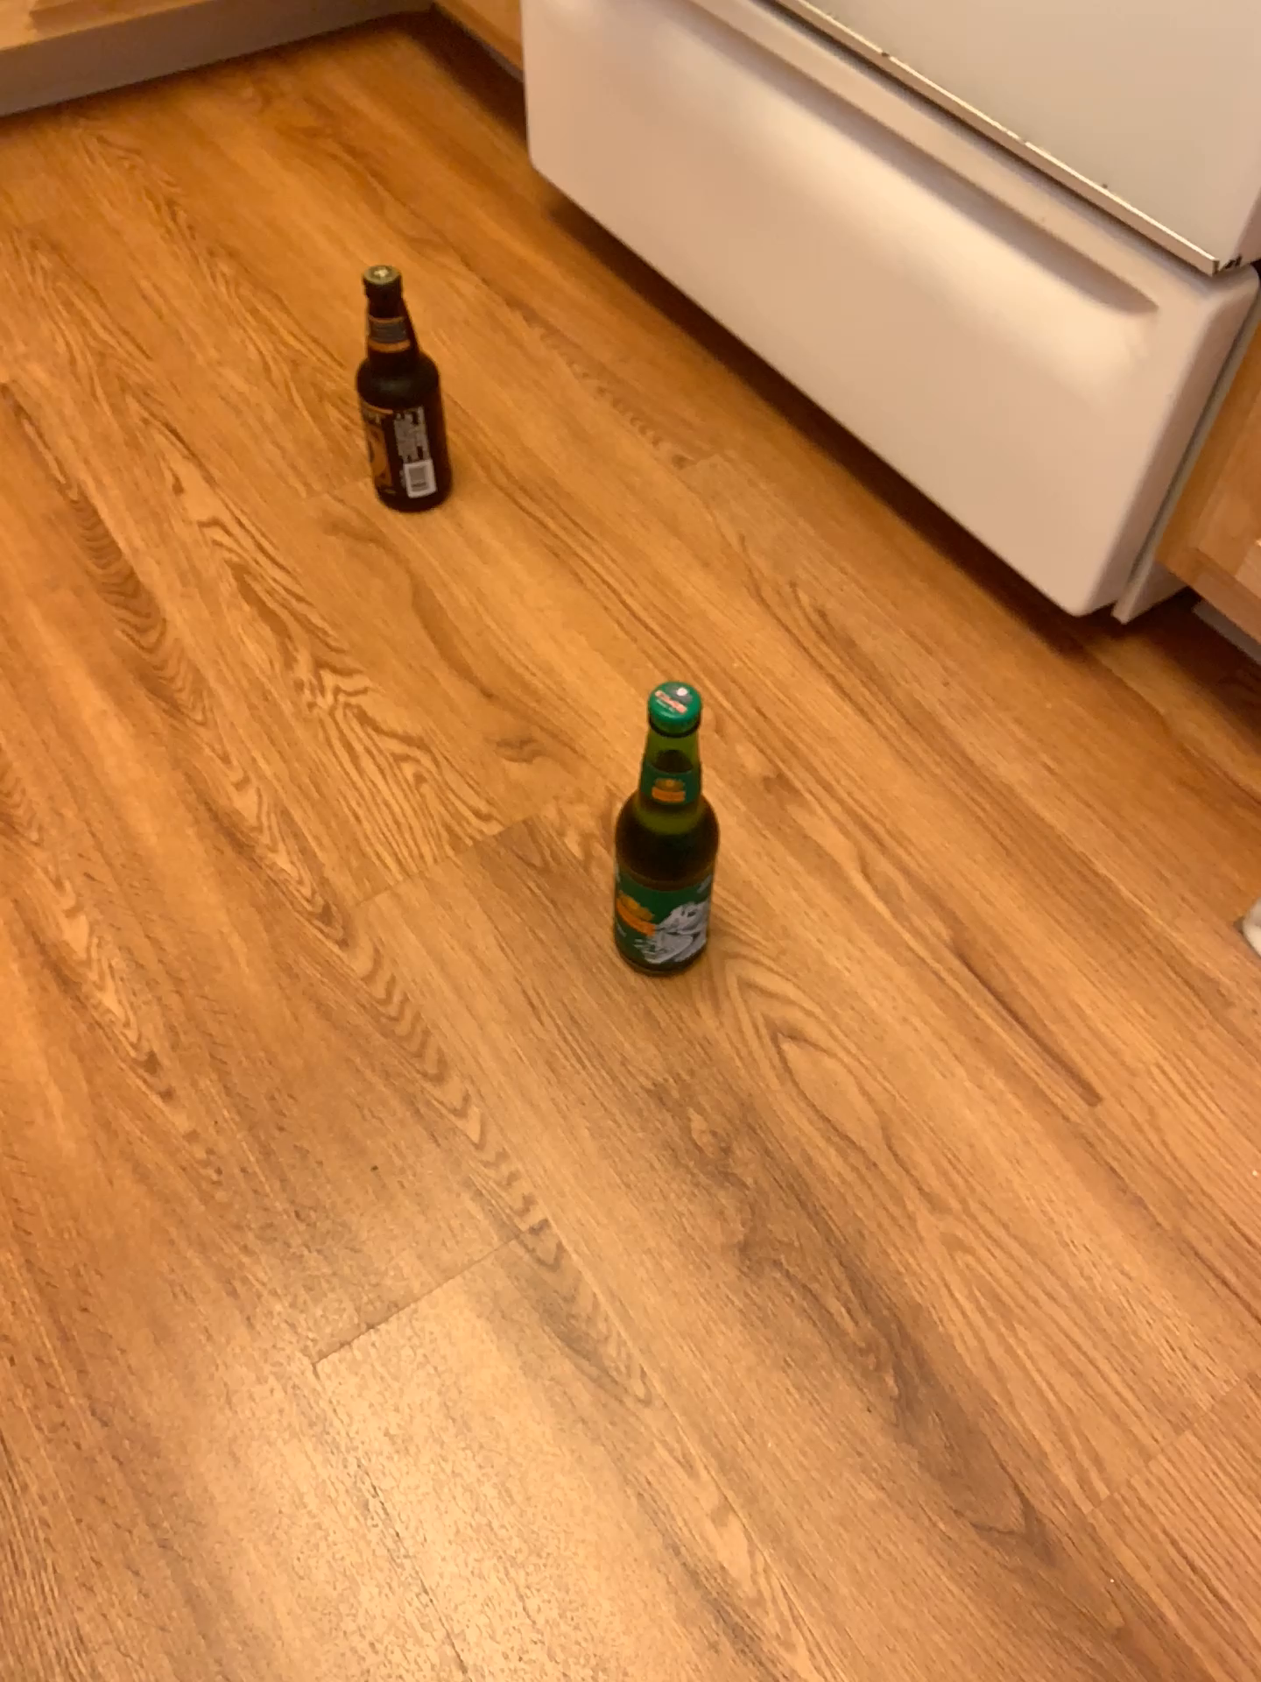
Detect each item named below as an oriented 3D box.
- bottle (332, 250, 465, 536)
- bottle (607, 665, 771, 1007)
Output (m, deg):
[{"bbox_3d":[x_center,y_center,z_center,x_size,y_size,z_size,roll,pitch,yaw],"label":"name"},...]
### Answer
[{"bbox_3d":[-0.171,-0.332,0.980,0.060,0.189,0.070,-17,57,-13],"label":"bottle"},{"bbox_3d":[0.026,0.006,0.723,0.060,0.219,0.060,1,55,-1],"label":"bottle"}]
